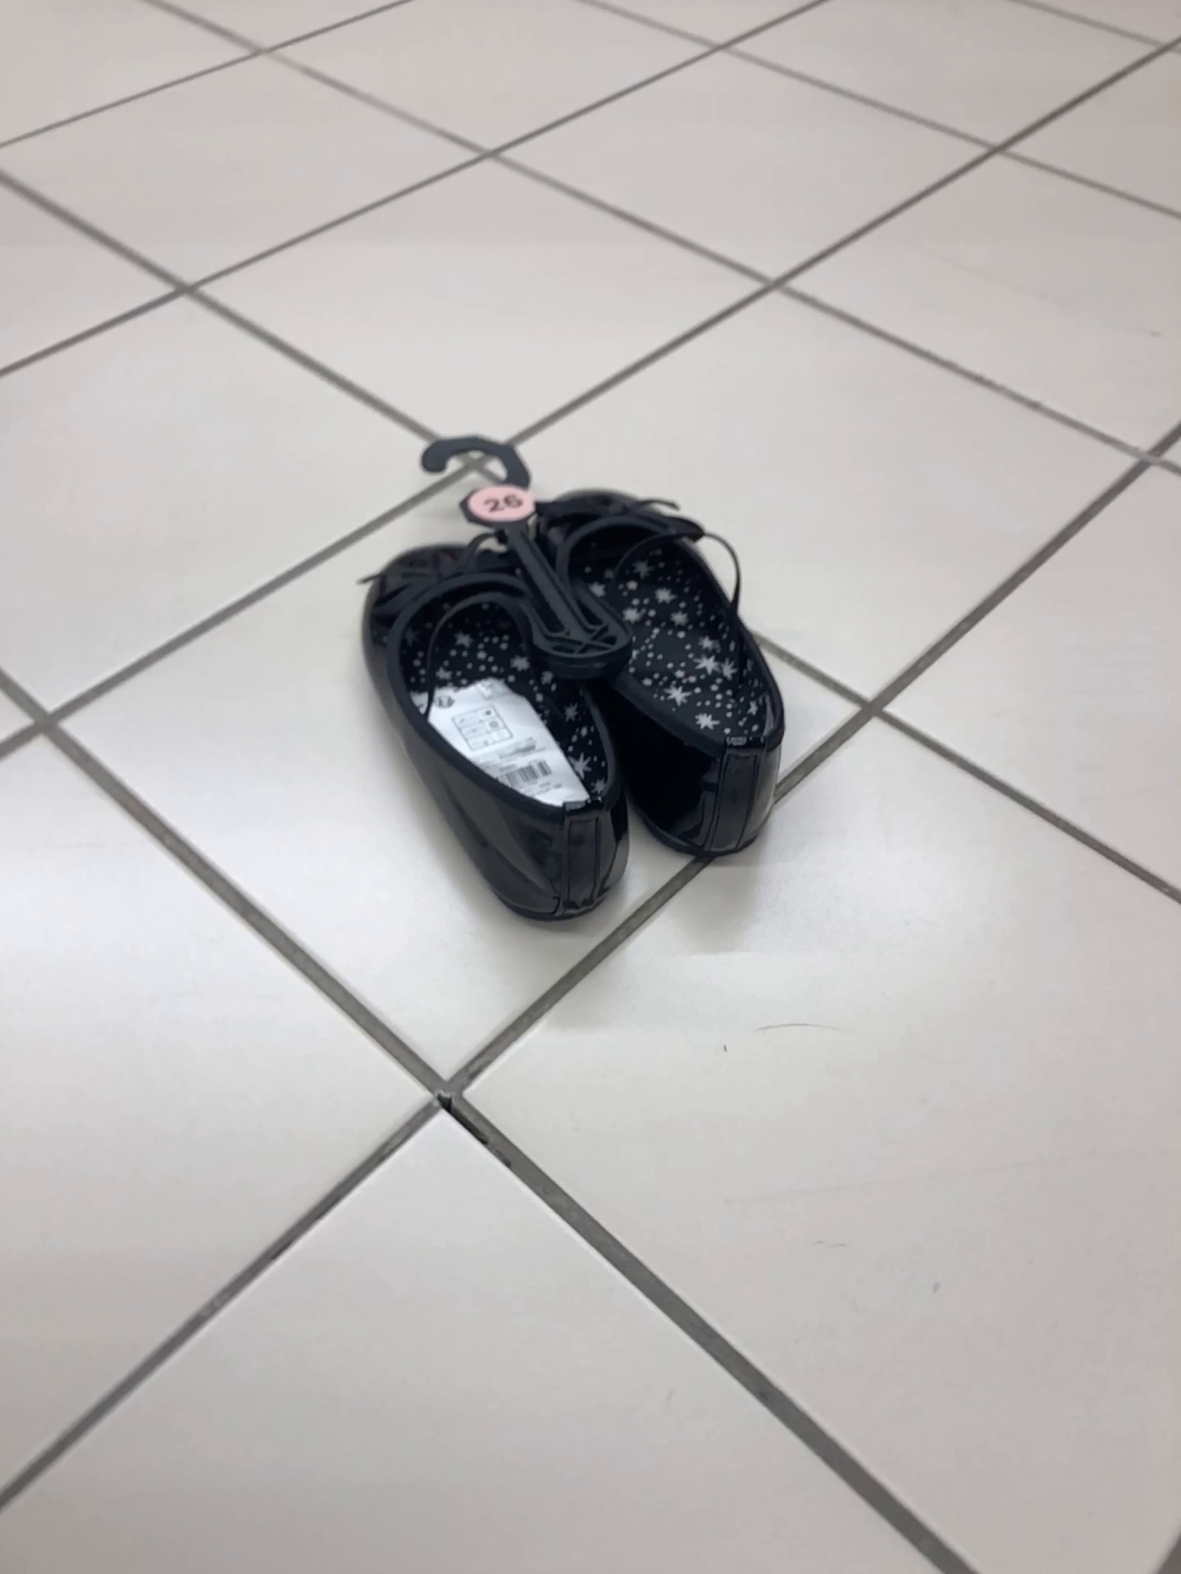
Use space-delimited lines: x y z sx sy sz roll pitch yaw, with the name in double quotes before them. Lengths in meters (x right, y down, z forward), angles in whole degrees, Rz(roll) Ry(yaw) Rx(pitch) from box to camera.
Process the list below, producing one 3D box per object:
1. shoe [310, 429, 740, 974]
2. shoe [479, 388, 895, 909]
"shoe" -0.027 -0.035 0.415 0.075 0.055 0.172 -17 52 -15
"shoe" 0.023 -0.054 0.435 0.072 0.059 0.174 -14 51 -12
